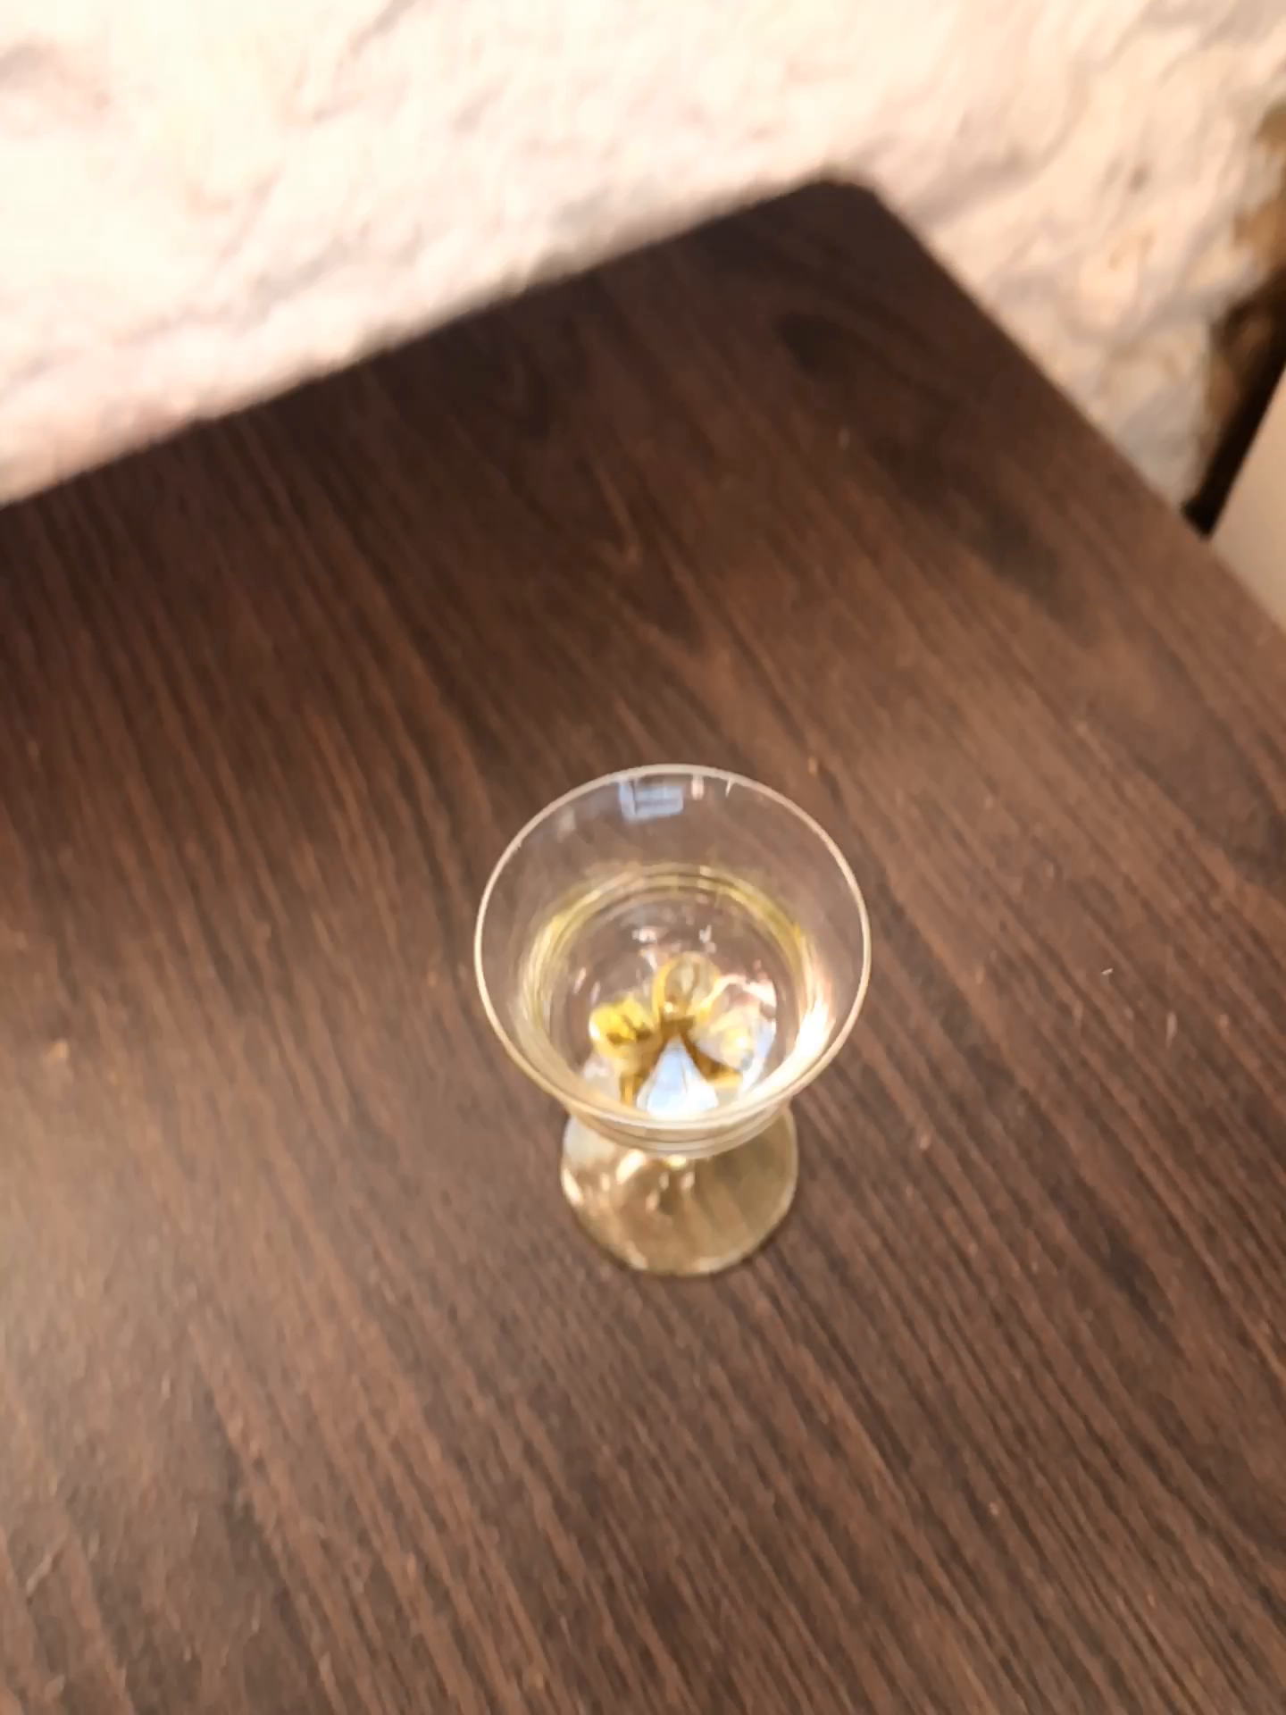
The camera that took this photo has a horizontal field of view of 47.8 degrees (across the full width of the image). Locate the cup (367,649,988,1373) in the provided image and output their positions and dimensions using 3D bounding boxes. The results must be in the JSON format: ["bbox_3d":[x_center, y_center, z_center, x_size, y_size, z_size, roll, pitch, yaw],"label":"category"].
[{"bbox_3d":[0.005,0.028,0.213,0.051,0.093,0.058,-28,64,-12],"label":"cup"}]
